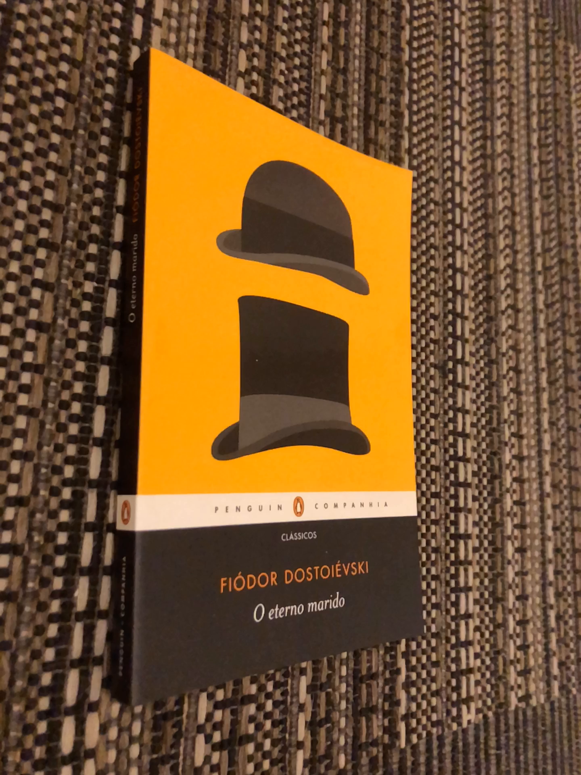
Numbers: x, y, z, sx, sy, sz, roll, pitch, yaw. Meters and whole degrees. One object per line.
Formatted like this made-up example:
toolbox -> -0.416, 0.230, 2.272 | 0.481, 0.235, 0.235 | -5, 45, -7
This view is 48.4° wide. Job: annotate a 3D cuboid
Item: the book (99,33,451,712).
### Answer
book -> 0.004, -0.004, 0.220 | 0.131, 0.020, 0.180 | 8, 78, -42
